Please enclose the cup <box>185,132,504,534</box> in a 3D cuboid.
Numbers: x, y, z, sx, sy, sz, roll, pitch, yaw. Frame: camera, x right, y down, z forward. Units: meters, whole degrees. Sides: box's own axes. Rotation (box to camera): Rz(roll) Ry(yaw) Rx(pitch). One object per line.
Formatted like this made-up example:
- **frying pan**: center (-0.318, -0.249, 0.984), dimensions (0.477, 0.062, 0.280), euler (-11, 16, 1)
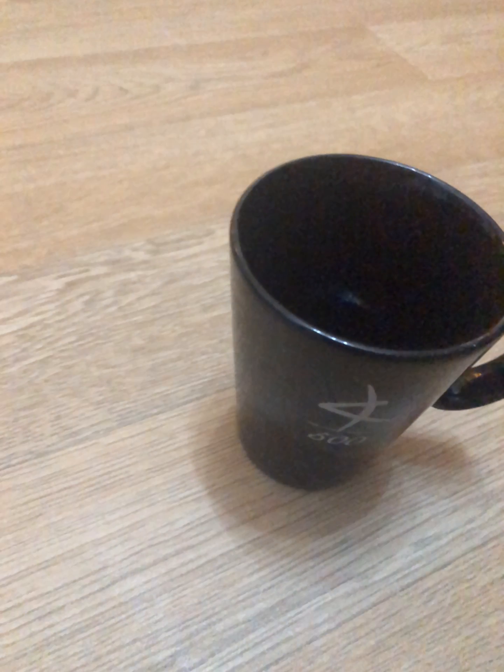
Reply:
- **cup**: center (0.044, 0.002, 0.198), dimensions (0.120, 0.089, 0.090), euler (8, 51, -2)
